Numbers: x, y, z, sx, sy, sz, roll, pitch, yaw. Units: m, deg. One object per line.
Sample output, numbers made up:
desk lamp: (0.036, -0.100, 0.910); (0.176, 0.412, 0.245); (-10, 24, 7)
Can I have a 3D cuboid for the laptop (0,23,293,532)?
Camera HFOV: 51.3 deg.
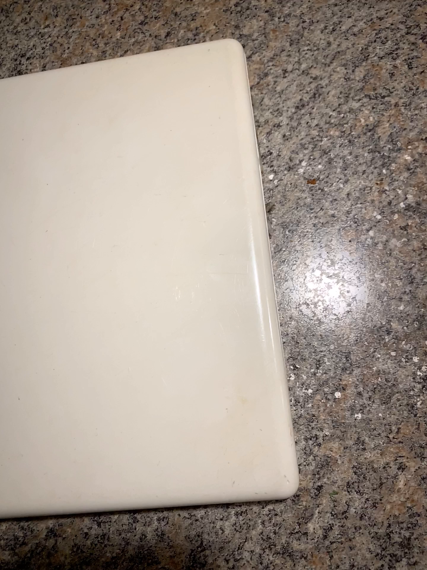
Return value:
laptop: (-0.131, -0.002, 0.208); (0.305, 0.002, 0.205); (-8, 77, 10)
